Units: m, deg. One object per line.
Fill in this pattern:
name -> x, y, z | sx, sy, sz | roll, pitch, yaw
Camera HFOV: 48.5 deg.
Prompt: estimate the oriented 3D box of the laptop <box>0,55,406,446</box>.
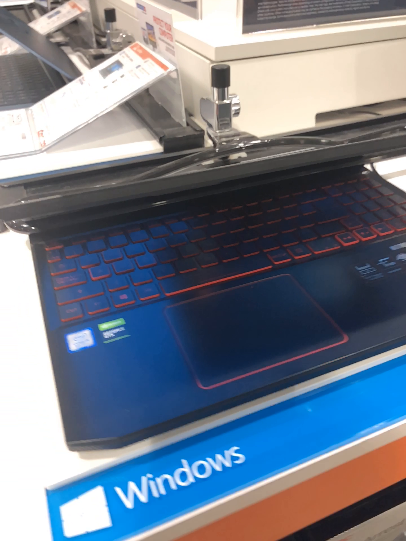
laptop -> 0.042, -0.057, 0.337 | 0.343, 0.121, 0.219 | -14, 40, -18
